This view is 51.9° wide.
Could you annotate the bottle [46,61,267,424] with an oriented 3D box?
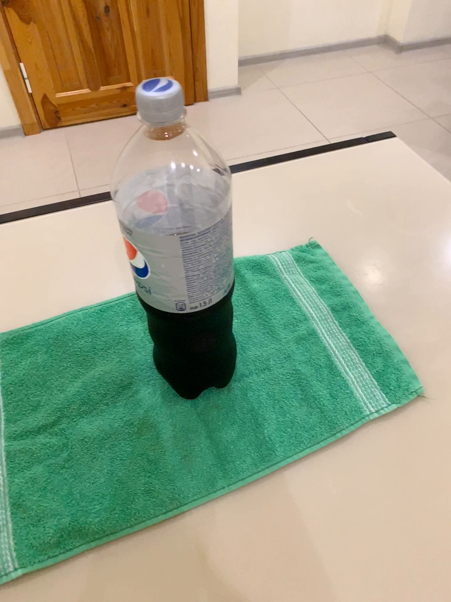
[{"bbox_3d":[-0.040,-0.026,0.406,0.100,0.298,0.100,0,49,0],"label":"bottle"}]
